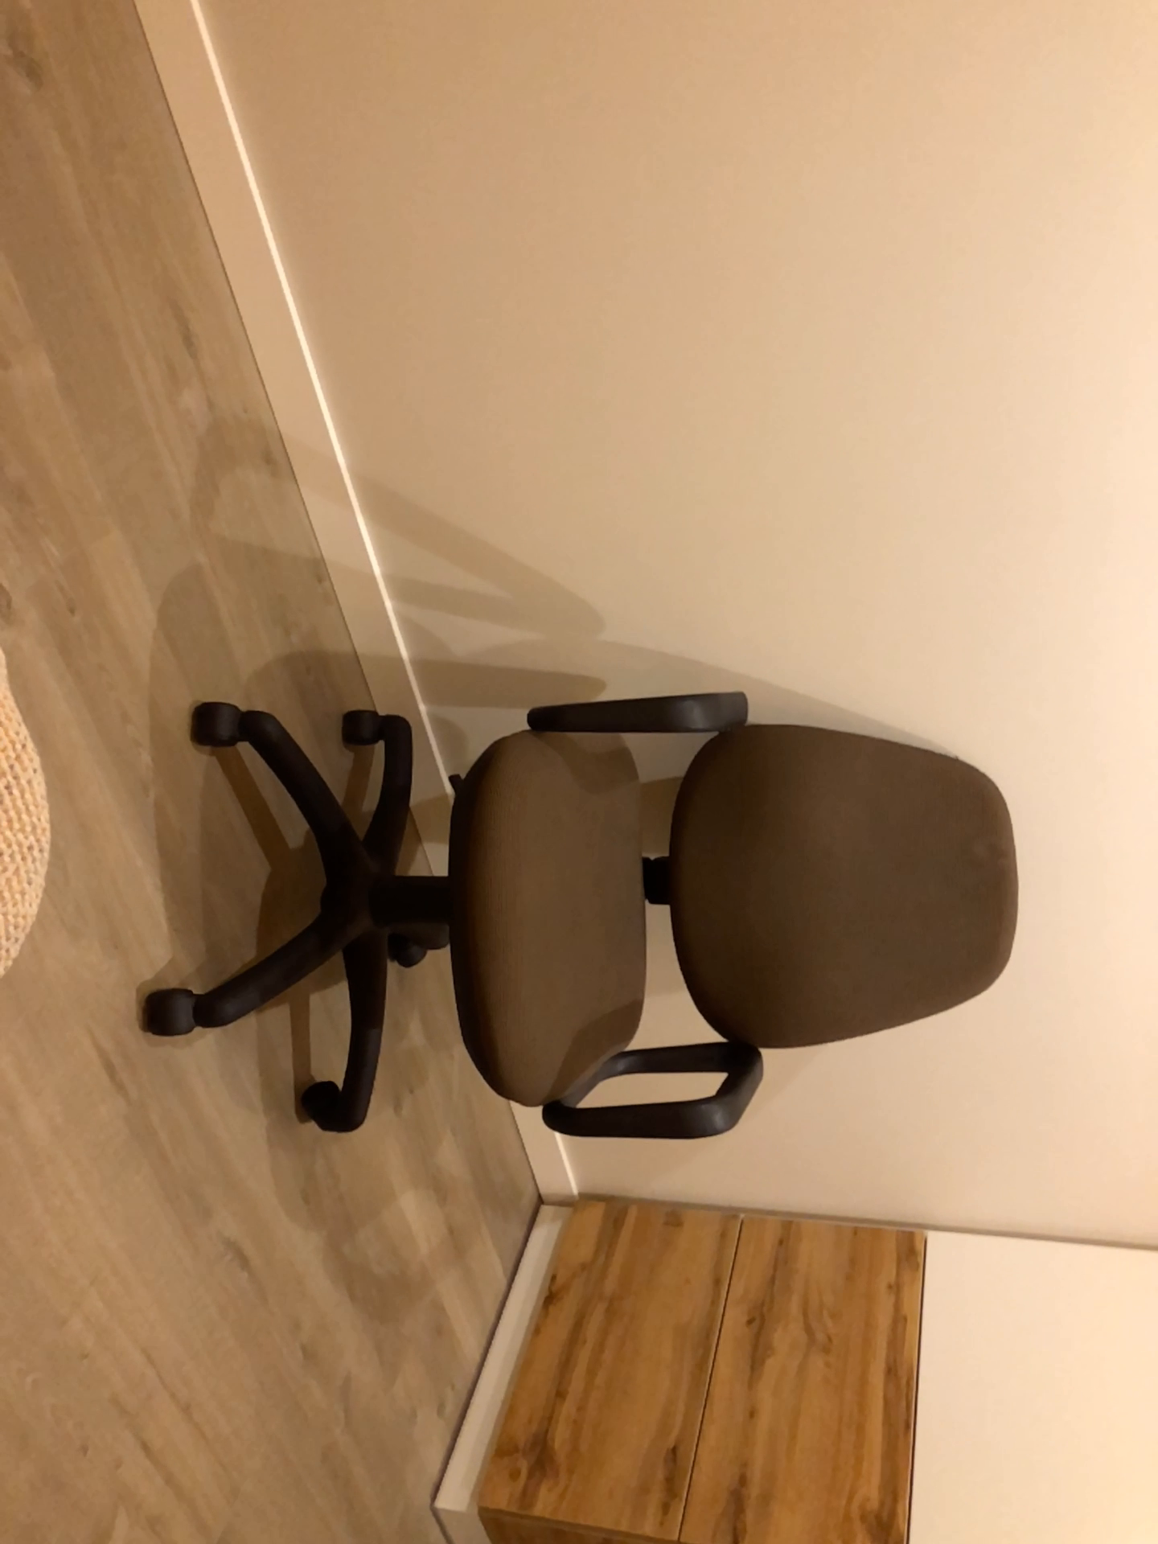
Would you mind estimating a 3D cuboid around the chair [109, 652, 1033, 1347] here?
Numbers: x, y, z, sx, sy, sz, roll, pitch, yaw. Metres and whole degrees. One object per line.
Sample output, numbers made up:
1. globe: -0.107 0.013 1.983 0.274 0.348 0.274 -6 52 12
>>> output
1. chair: 0.058 0.200 1.635 0.713 0.976 0.630 -9 97 -70
